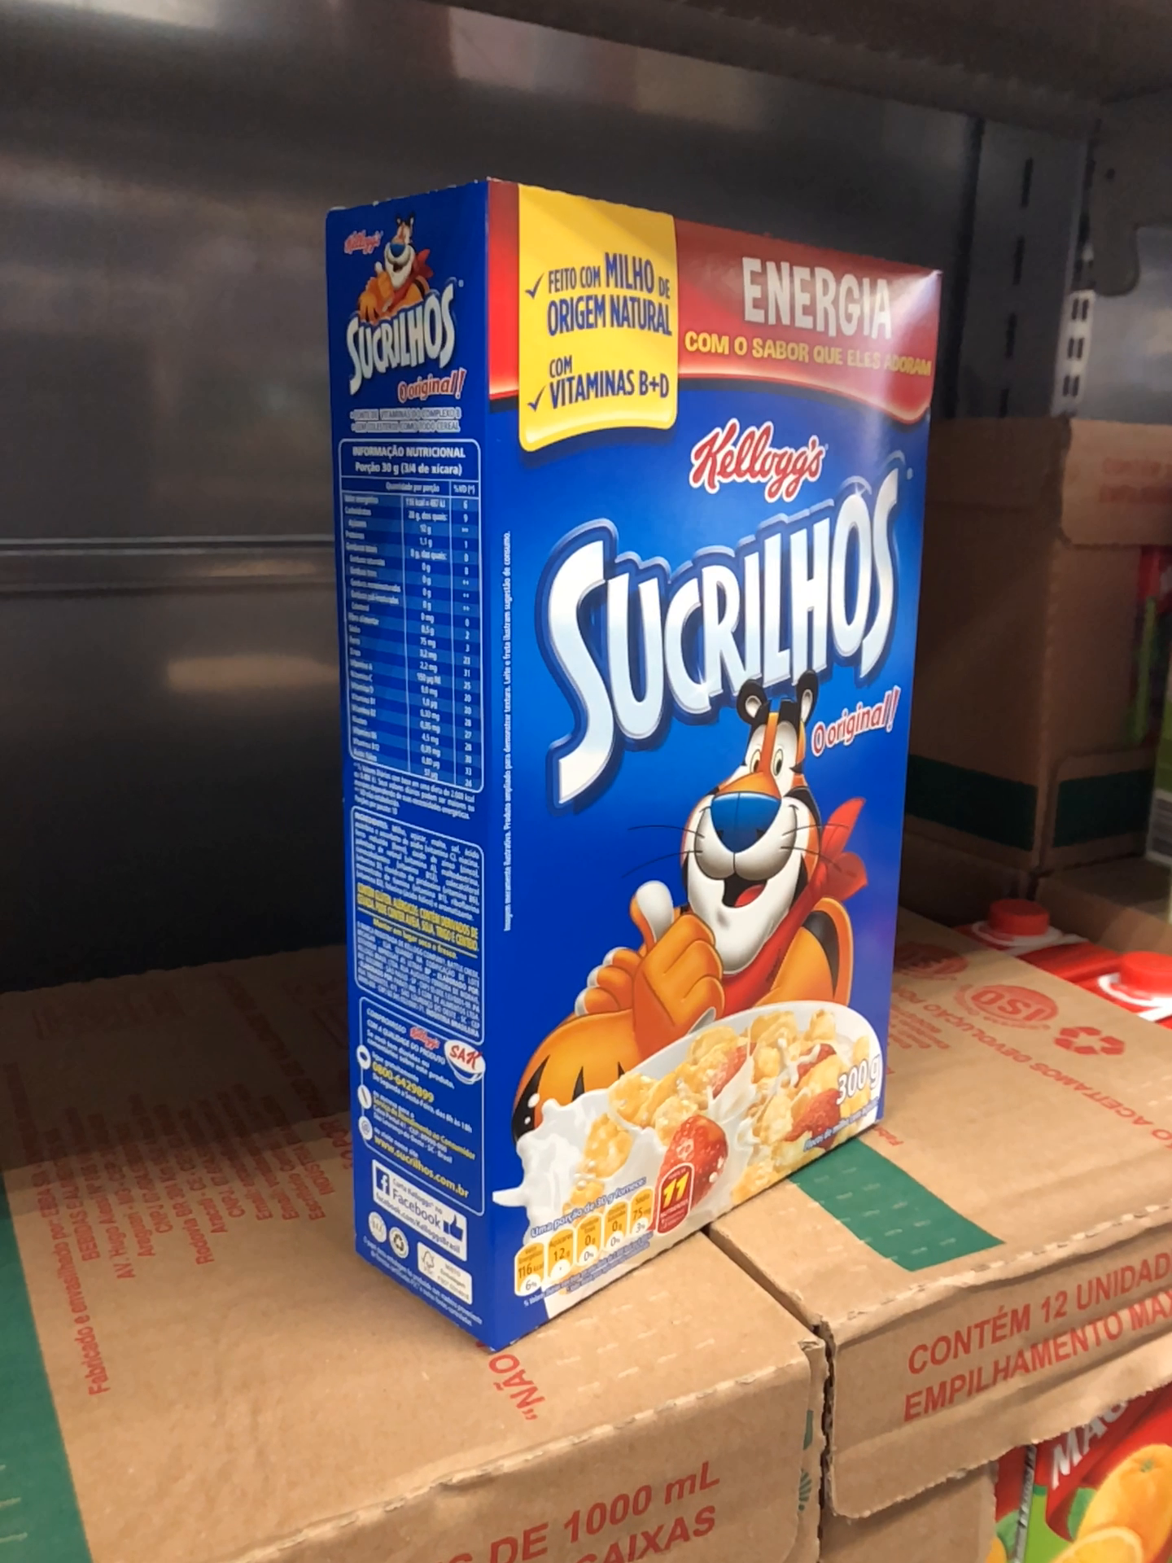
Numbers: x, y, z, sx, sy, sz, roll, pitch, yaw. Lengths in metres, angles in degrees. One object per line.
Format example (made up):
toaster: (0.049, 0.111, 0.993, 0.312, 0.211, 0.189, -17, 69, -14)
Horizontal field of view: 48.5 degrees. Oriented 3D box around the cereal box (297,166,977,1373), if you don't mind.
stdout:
cereal box: (0.019, -0.009, 0.339, 0.170, 0.249, 0.060, -12, 19, -42)
